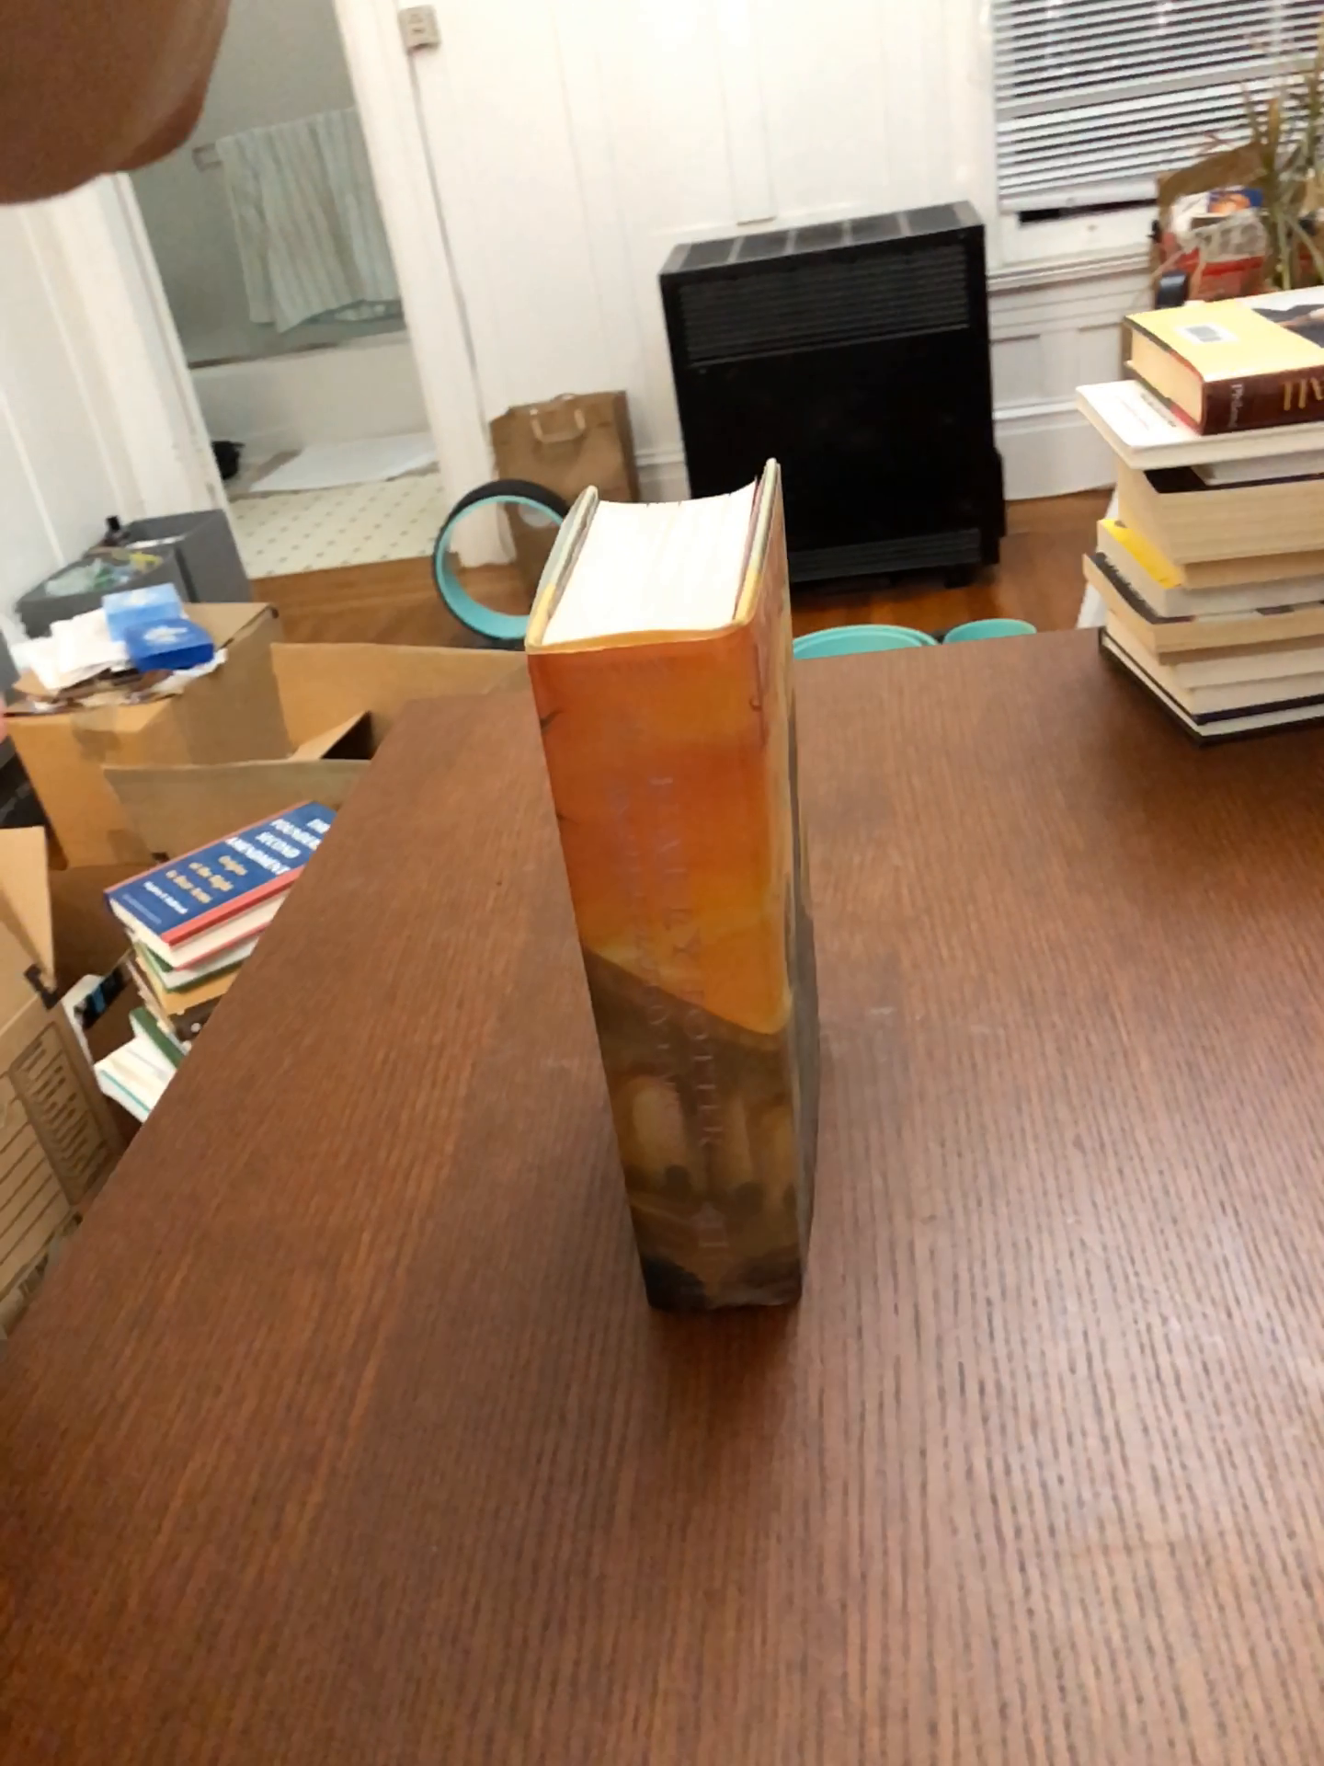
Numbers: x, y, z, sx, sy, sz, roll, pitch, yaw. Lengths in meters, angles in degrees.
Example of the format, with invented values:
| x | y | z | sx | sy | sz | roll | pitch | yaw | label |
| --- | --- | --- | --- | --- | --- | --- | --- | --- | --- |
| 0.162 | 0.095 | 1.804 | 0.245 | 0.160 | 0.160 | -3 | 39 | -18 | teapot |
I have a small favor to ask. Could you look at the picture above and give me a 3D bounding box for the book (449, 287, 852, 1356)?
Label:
| x | y | z | sx | sy | sz | roll | pitch | yaw | label |
| --- | --- | --- | --- | --- | --- | --- | --- | --- | --- |
| 0.017 | -0.026 | 0.501 | 0.070 | 0.298 | 0.211 | -3 | 29 | 10 | book |
